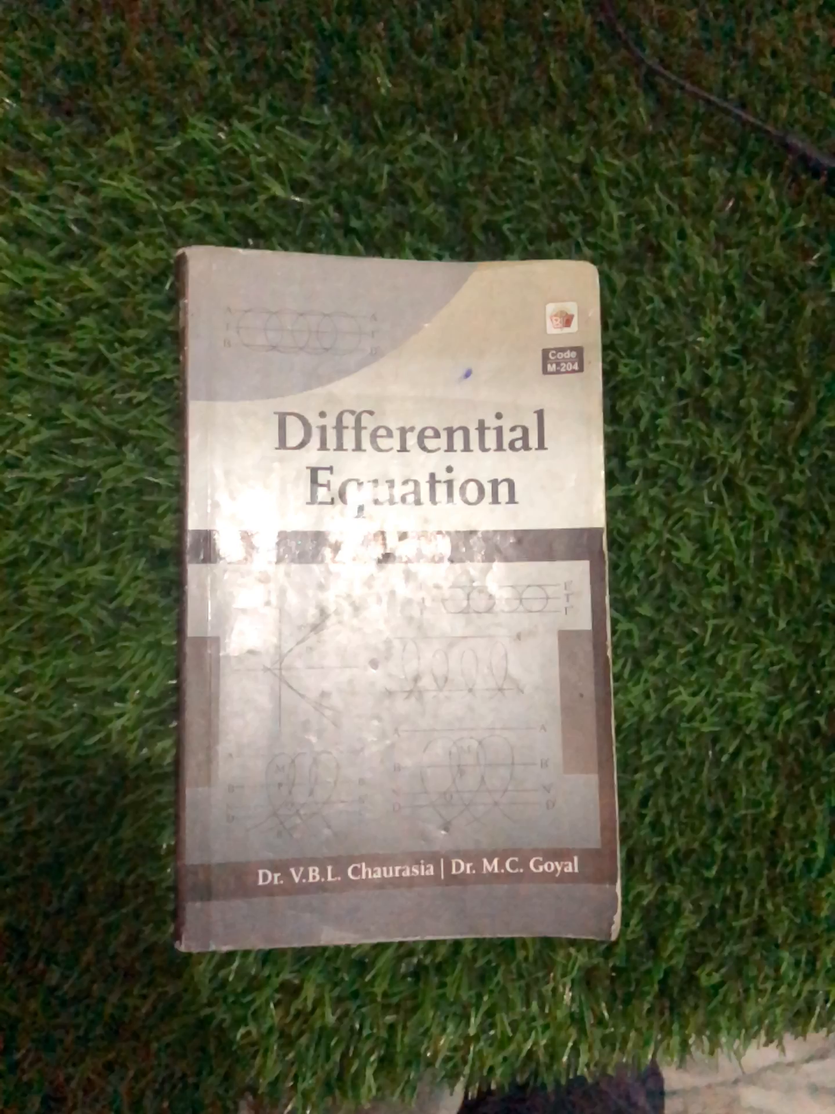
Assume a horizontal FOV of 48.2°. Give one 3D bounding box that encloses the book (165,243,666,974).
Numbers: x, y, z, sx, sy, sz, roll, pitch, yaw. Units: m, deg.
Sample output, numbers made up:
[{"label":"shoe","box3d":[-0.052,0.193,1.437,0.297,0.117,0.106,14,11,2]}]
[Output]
[{"label":"book","box3d":[-0.001,0.012,0.283,0.140,0.030,0.200,0,83,-10]}]
